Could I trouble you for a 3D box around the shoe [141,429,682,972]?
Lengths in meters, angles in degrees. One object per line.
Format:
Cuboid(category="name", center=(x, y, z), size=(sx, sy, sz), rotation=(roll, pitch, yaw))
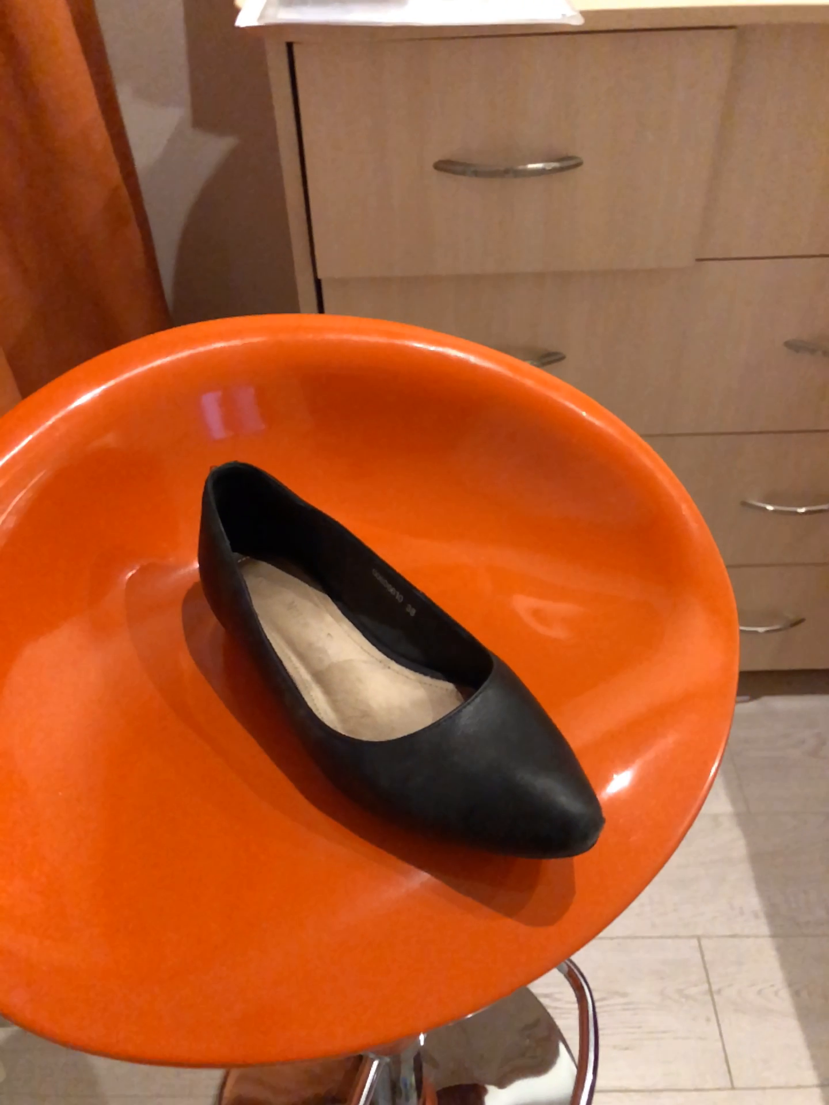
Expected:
Cuboid(category="shoe", center=(-0.016, 0.047, 0.423), size=(0.090, 0.079, 0.261), rotation=(-30, 49, -27))
